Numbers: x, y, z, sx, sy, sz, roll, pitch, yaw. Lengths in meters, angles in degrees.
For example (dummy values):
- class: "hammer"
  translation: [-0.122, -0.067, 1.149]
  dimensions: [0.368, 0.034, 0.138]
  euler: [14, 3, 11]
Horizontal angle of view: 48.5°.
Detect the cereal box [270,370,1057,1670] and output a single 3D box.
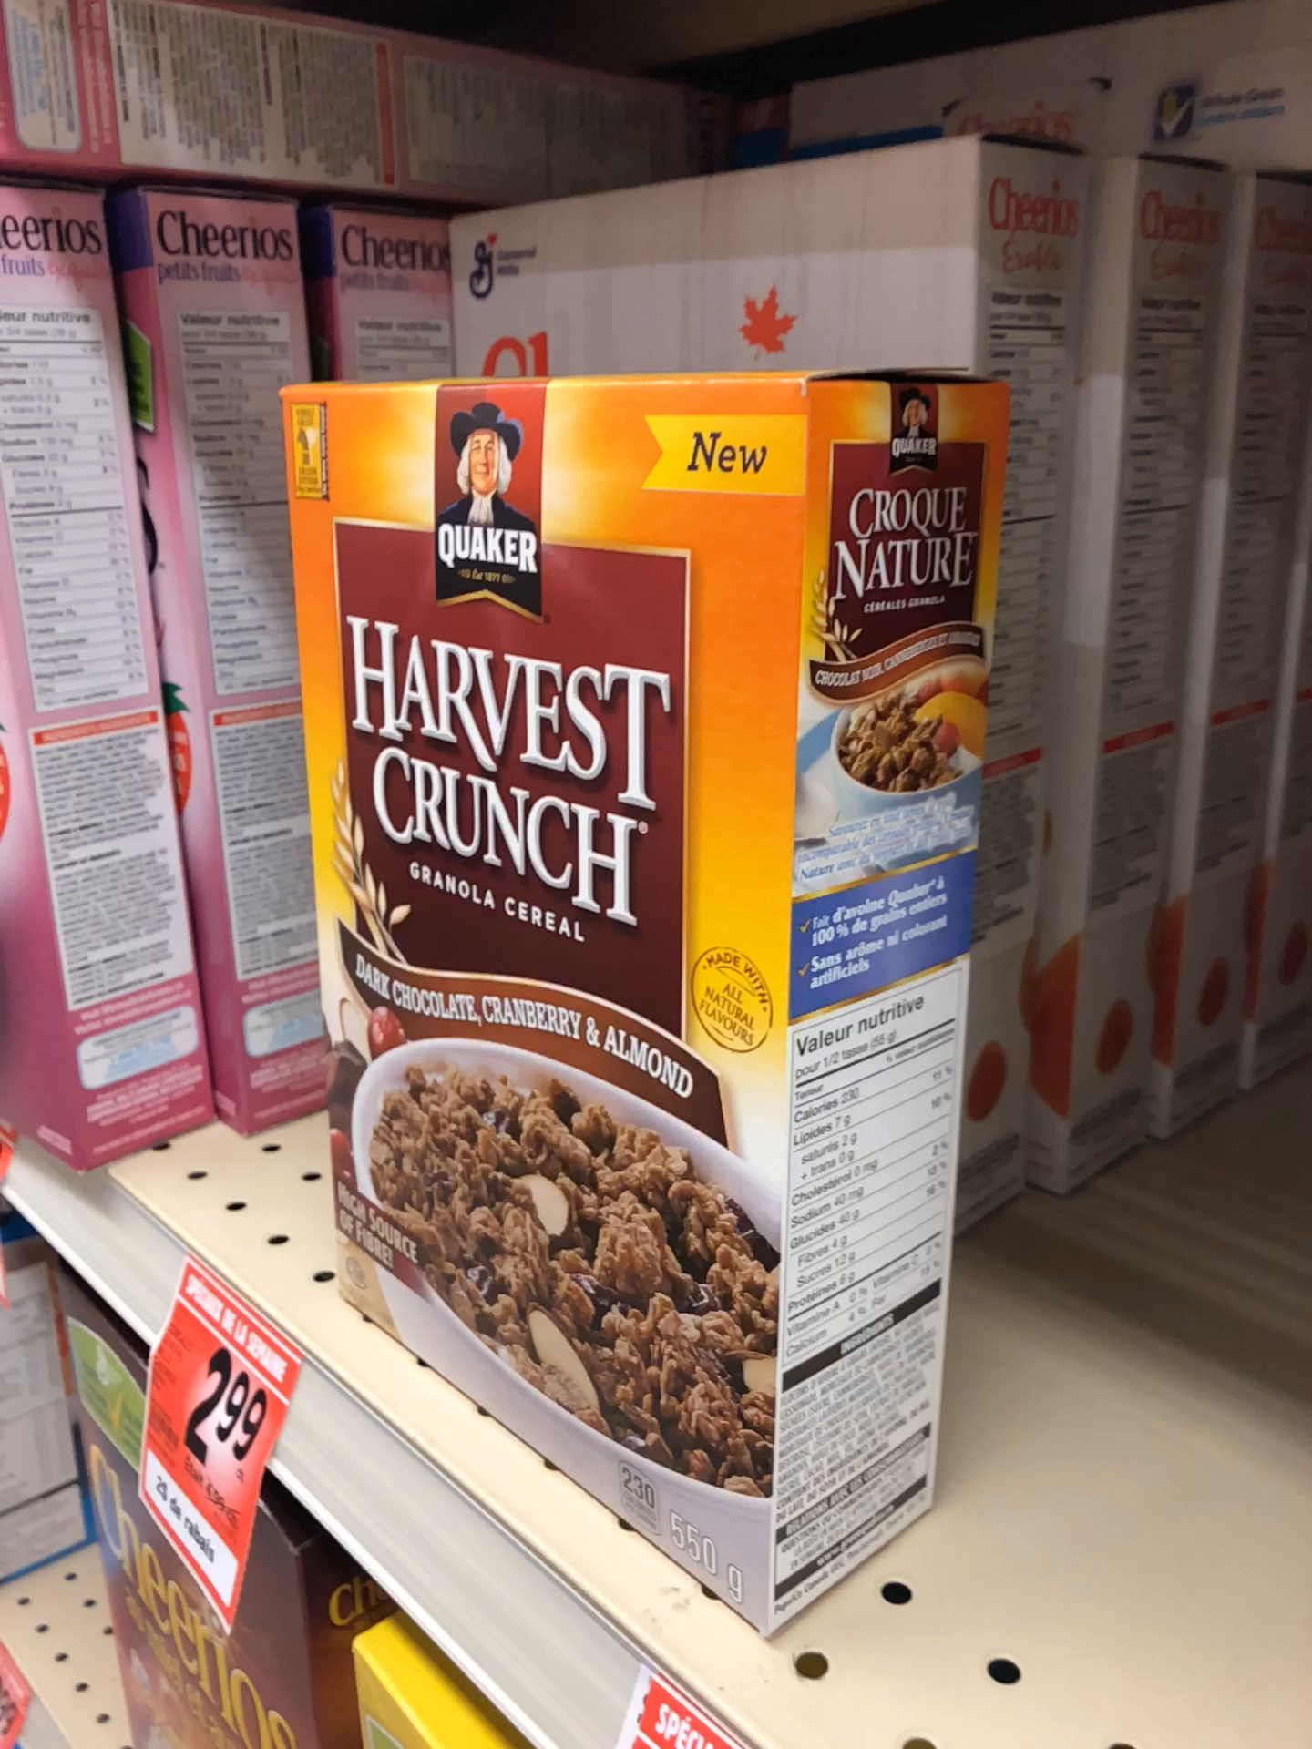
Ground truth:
- class: "cereal box"
  translation: [-0.009, 0.015, 0.329]
  dimensions: [0.060, 0.239, 0.171]
  euler: [-15, 22, -40]
